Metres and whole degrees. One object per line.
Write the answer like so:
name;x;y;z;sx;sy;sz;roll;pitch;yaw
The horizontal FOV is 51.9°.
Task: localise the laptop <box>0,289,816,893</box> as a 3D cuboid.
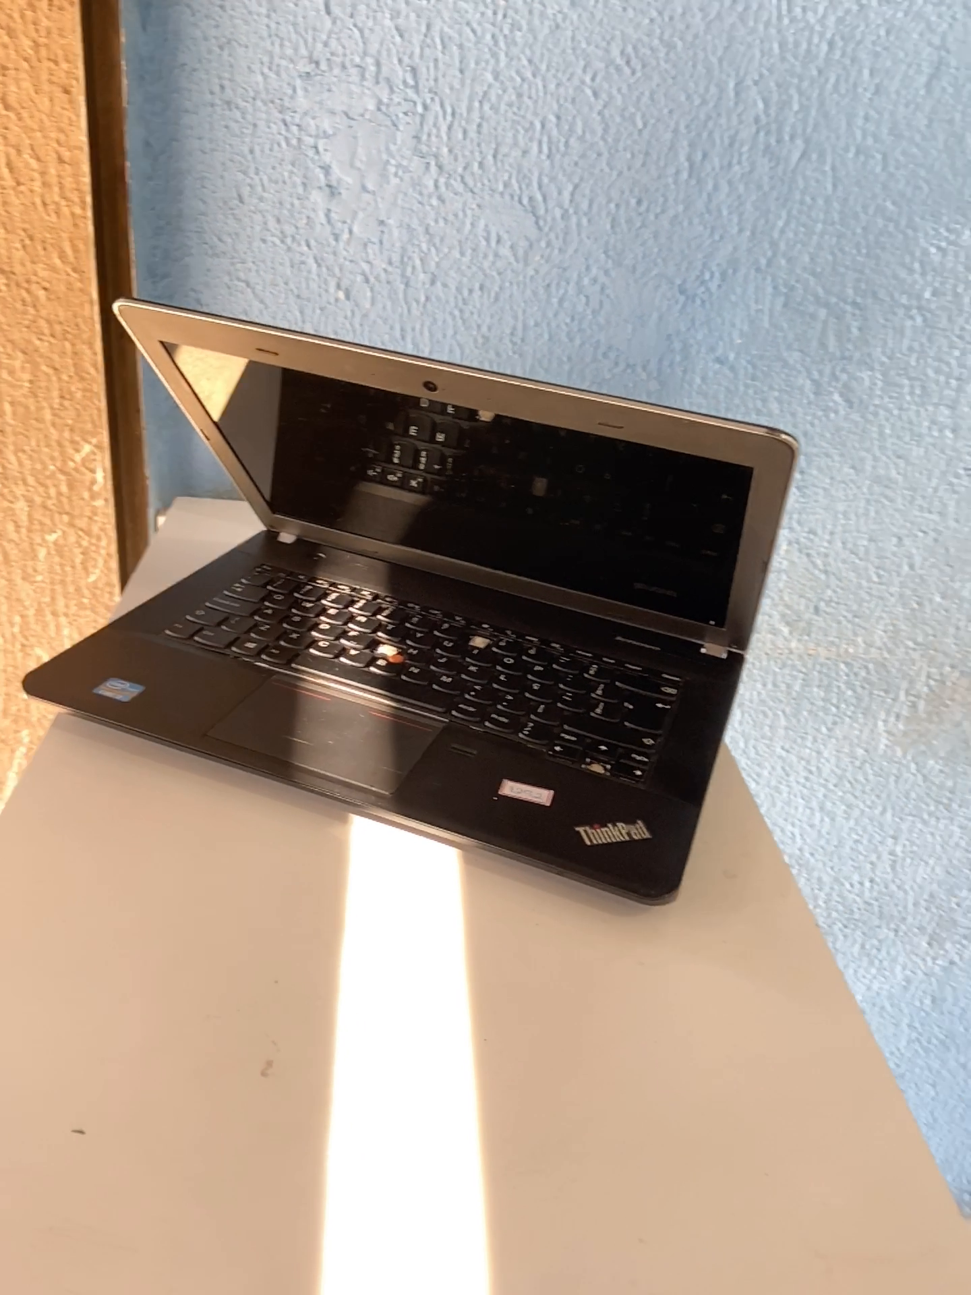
laptop;-0.028;-0.061;0.515;0.330;0.165;0.232;15;29;16
